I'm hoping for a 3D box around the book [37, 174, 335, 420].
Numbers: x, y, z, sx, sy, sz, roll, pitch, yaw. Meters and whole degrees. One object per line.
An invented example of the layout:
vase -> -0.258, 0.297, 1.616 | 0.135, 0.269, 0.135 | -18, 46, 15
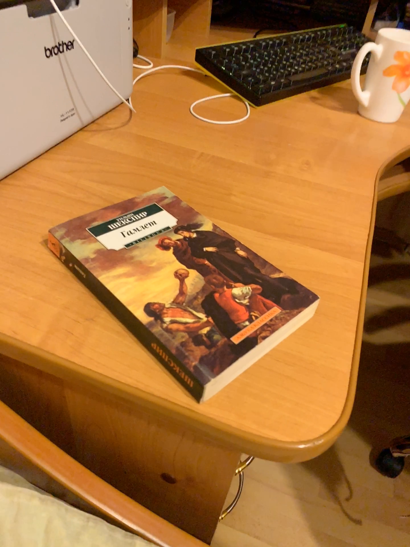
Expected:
book -> -0.020, -0.004, 0.311 | 0.121, 0.030, 0.191 | -27, 53, -34
